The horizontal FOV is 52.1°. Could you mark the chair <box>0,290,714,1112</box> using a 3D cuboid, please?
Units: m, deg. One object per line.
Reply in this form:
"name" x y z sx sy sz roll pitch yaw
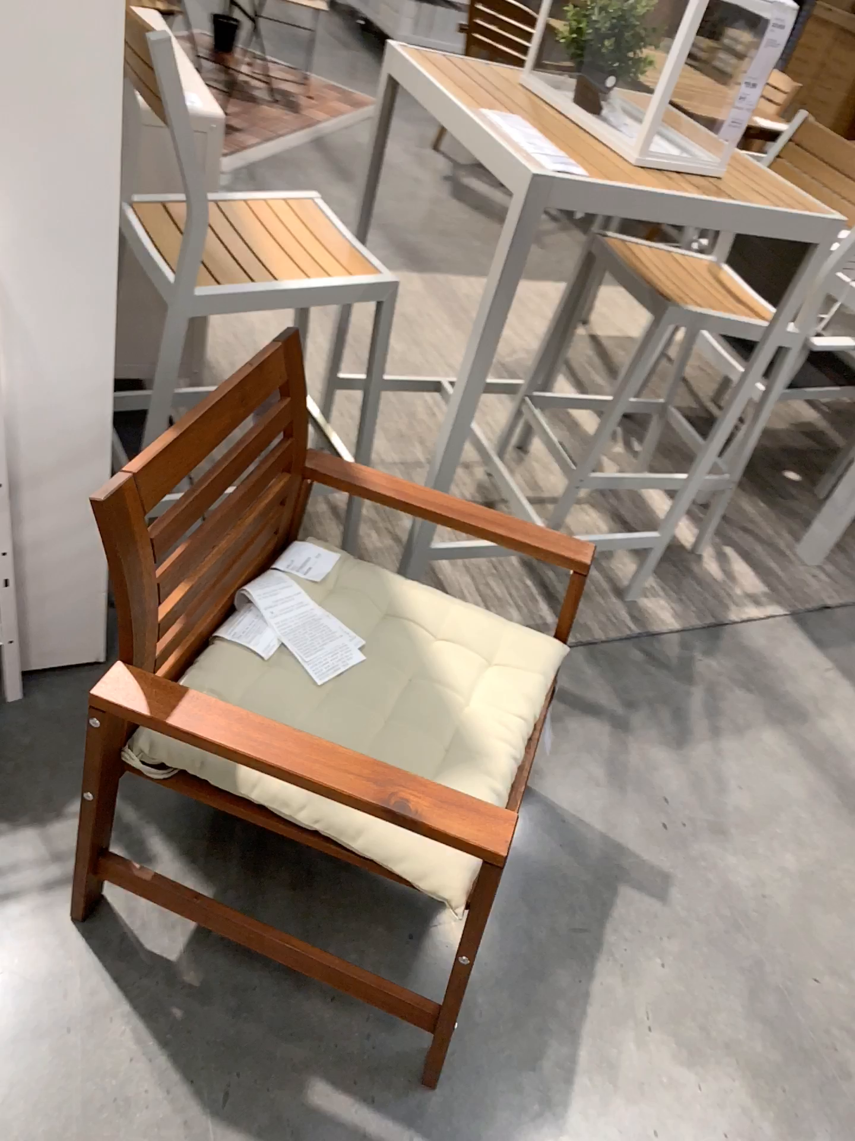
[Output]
"chair" -0.100 0.164 1.246 0.720 0.706 0.654 21 40 3
